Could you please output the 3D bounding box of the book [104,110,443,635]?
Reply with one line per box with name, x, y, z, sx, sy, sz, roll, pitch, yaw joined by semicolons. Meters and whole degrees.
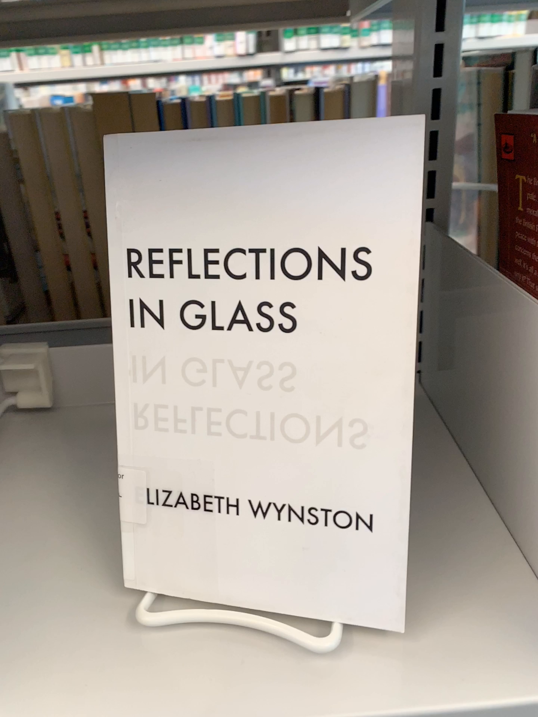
book;-0.001;0.008;0.229;0.127;0.196;0.018;3;10;14
